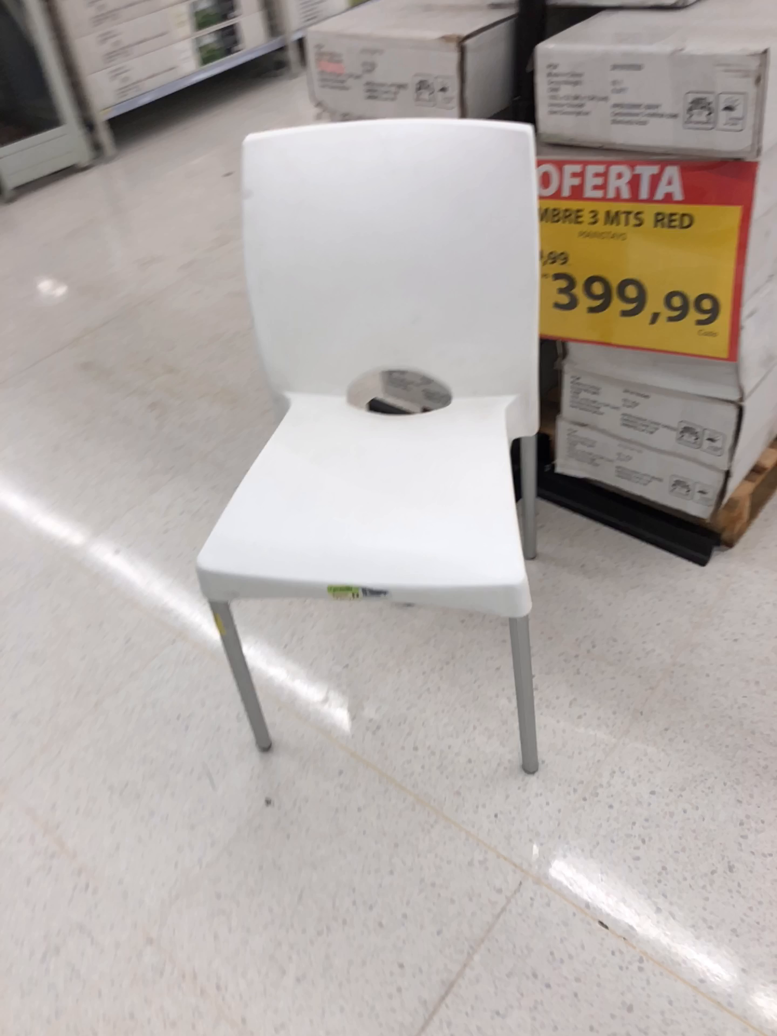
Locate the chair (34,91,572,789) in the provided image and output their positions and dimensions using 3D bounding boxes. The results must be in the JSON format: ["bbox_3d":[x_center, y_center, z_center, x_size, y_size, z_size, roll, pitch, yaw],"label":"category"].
[{"bbox_3d":[-0.006,-0.095,1.246,0.500,0.794,0.564,2,43,12],"label":"chair"}]
